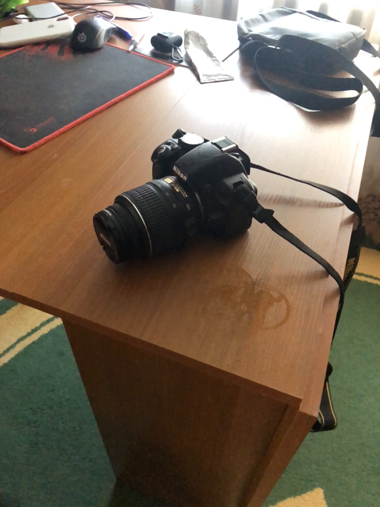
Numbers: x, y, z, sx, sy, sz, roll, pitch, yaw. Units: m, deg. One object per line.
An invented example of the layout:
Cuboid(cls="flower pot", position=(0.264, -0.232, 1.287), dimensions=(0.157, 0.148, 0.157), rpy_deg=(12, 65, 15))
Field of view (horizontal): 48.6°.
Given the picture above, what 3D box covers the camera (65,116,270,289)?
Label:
Cuboid(cls="camera", position=(-0.022, -0.060, 0.430), dimensions=(0.161, 0.078, 0.111), rpy_deg=(-25, 53, -24))
